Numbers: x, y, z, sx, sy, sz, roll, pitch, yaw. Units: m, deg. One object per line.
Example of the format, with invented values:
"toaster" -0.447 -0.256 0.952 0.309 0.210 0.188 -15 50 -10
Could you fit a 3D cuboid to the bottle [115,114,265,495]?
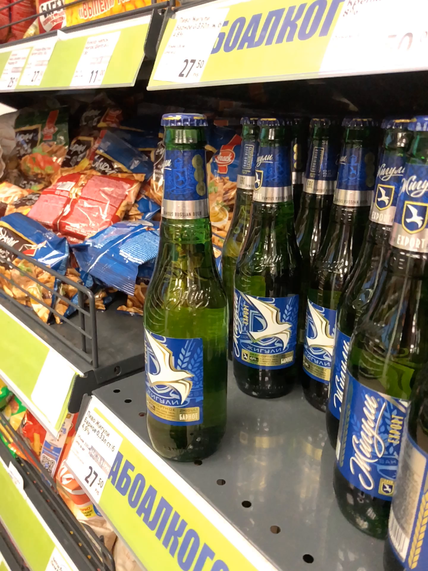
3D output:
"bottle" -0.014 0.012 0.317 0.063 0.239 0.063 0 19 0
